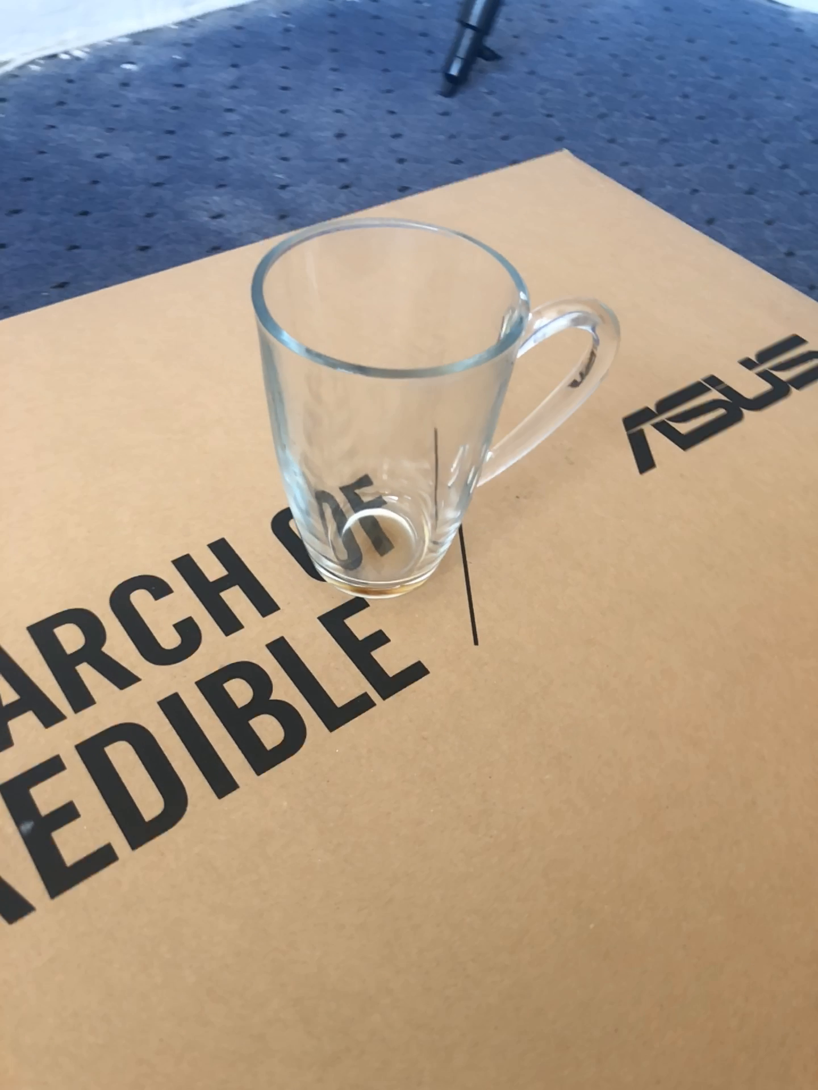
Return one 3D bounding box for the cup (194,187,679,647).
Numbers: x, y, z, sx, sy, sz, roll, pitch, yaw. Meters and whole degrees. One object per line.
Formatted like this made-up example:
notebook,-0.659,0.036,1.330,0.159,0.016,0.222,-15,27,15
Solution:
cup,0.004,-0.043,0.283,0.110,0.090,0.080,-18,51,-21
